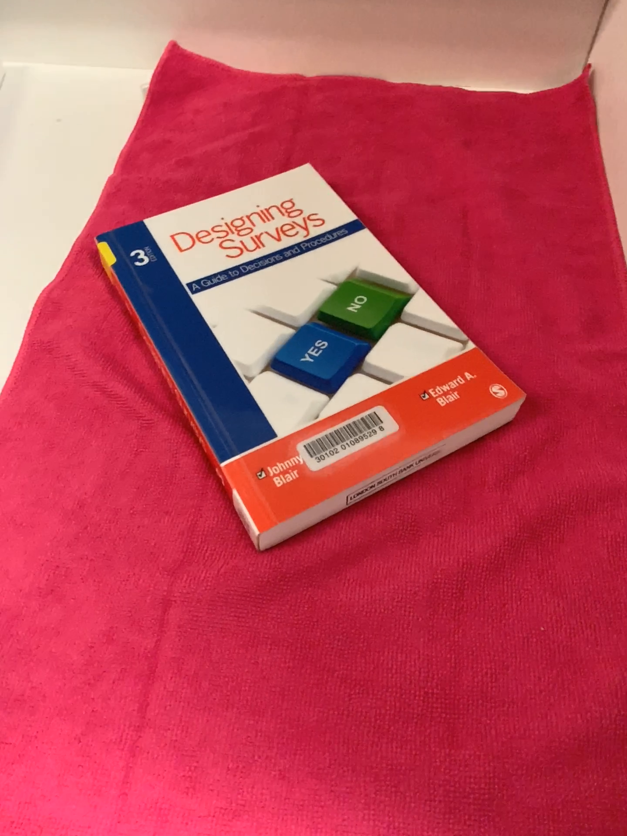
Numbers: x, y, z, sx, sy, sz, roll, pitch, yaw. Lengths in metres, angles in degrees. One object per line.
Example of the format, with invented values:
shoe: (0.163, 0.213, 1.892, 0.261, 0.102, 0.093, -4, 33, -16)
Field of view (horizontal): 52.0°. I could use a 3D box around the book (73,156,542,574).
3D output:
book: (-0.015, -0.053, 0.360, 0.160, 0.026, 0.231, -25, 60, -18)
